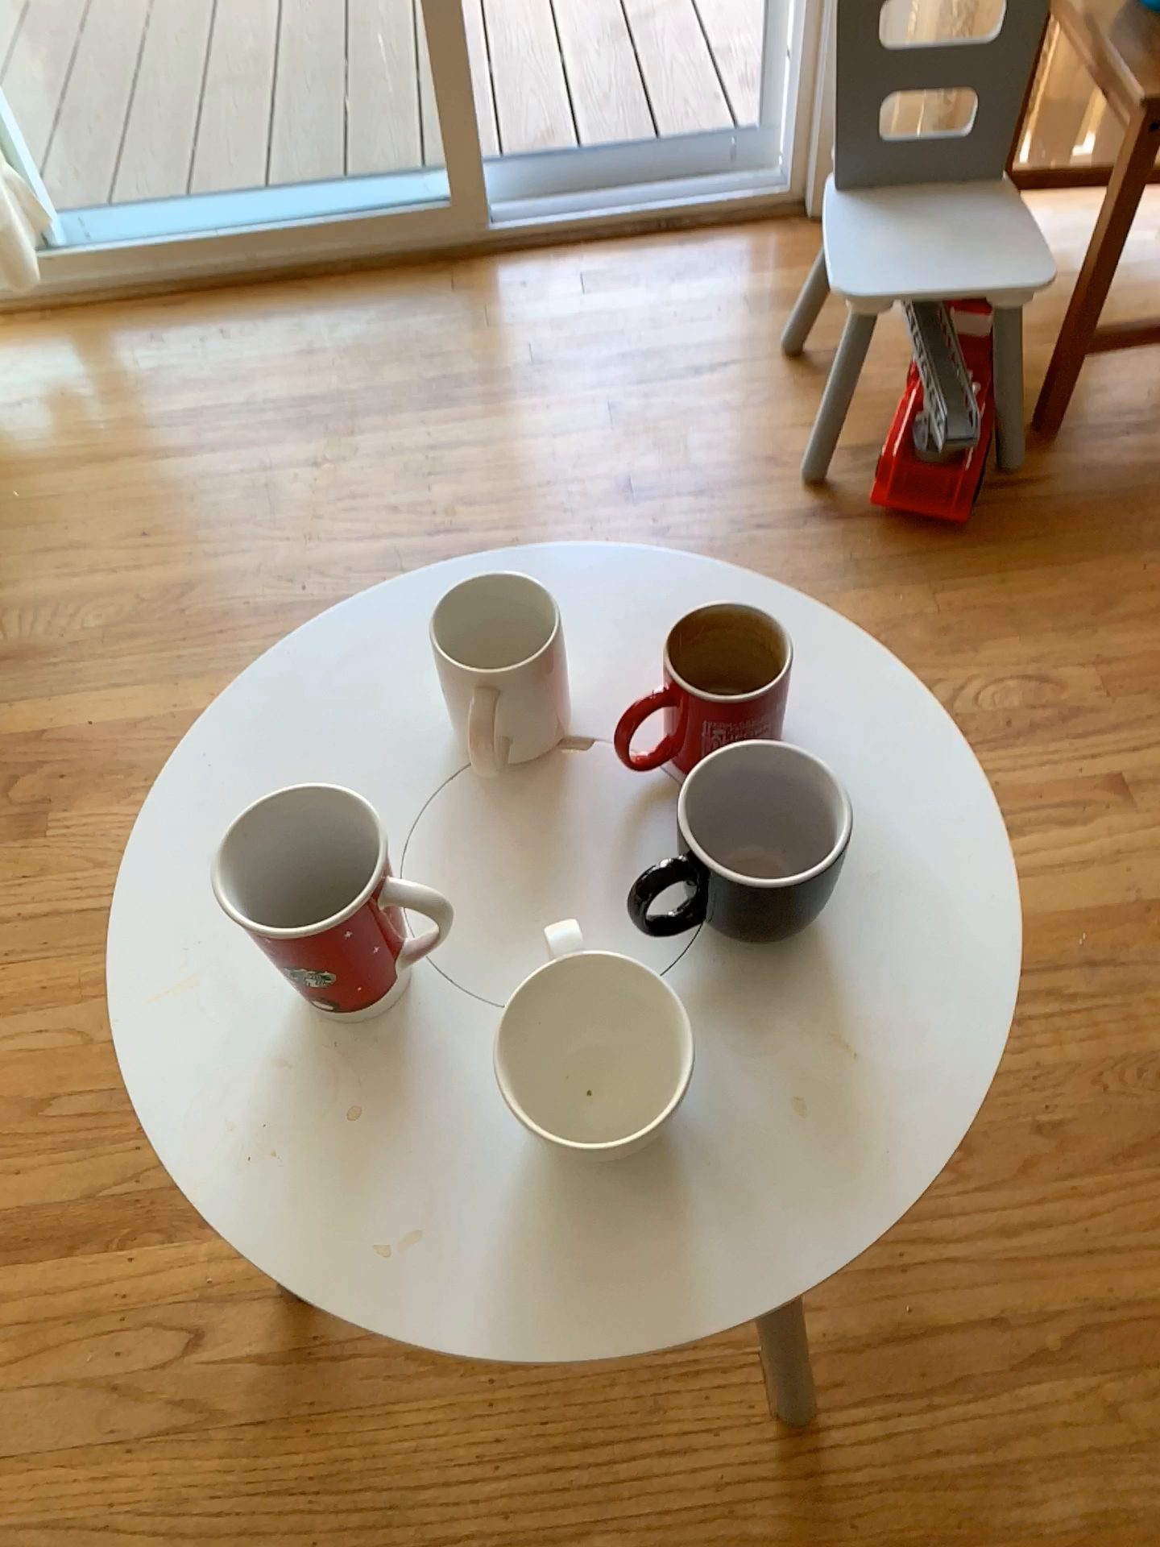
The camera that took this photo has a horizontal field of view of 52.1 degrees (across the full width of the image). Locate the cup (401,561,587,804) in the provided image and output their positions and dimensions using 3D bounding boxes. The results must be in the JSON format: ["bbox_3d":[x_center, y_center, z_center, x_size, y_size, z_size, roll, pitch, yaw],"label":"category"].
[{"bbox_3d":[-0.048,-0.056,0.741,0.100,0.090,0.120,-1,56,3],"label":"cup"}]

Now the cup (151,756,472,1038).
[{"bbox_3d":[-0.140,0.071,0.661,0.130,0.130,0.100,3,57,5],"label":"cup"}]

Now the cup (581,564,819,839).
[{"bbox_3d":[0.074,-0.045,0.746,0.120,0.100,0.080,-39,63,-20],"label":"cup"}]

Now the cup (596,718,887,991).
[{"bbox_3d":[0.086,0.046,0.670,0.130,0.080,0.100,-13,57,-6],"label":"cup"}]

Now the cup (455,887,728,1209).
[{"bbox_3d":[0.004,0.142,0.625,0.110,0.060,0.130,-13,57,-5],"label":"cup"}]
